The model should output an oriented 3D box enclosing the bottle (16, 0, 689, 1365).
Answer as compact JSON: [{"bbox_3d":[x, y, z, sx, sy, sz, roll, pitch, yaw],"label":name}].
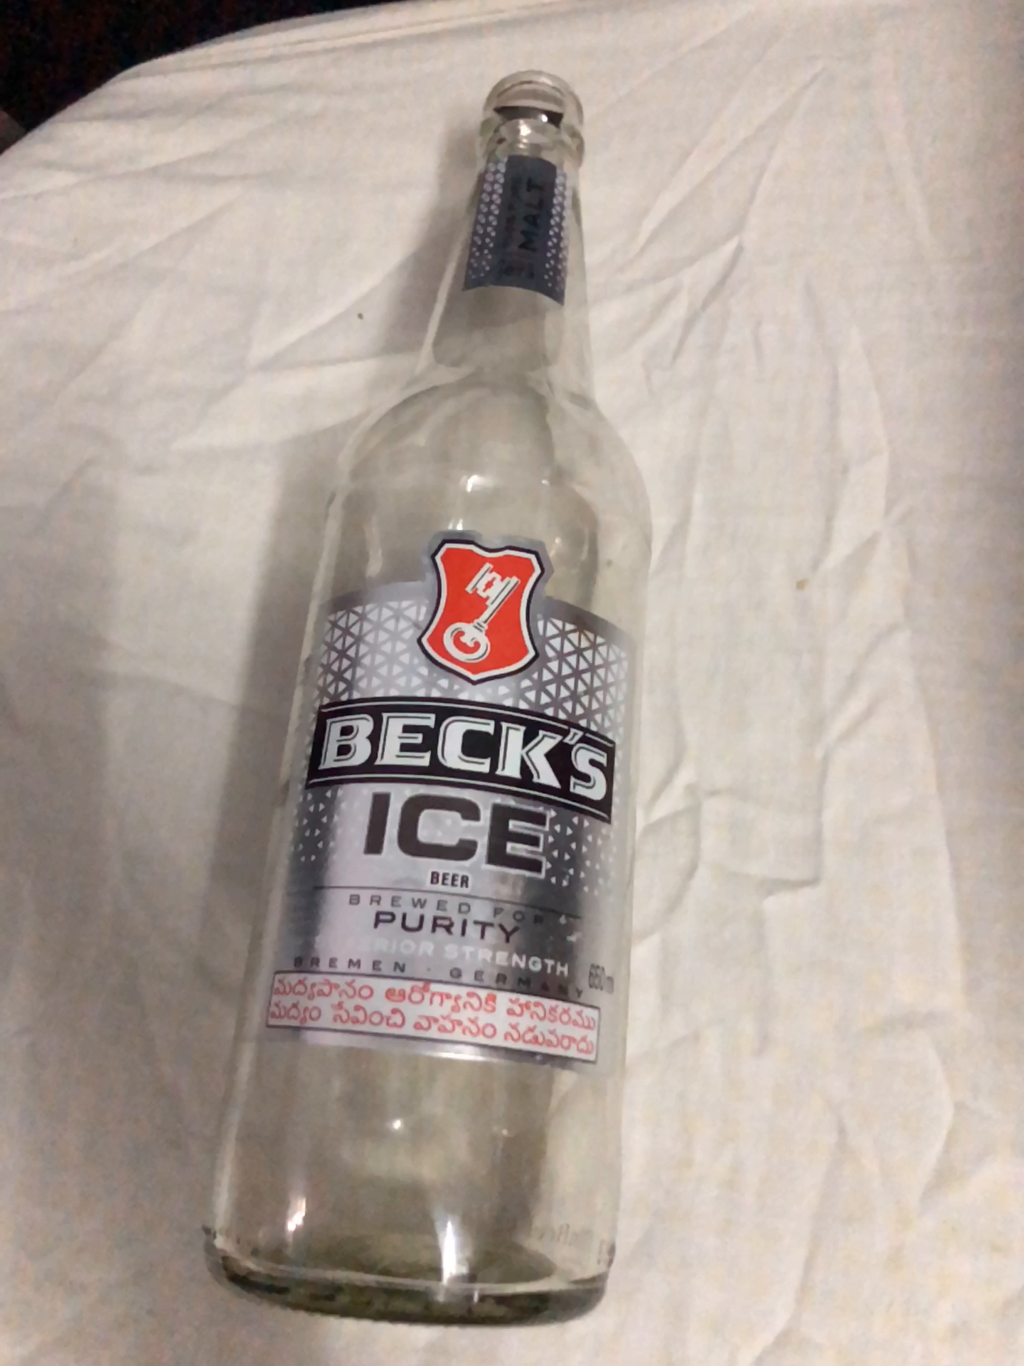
[{"bbox_3d":[-0.011,-0.026,0.217,0.080,0.080,0.280,0,75,13],"label":"bottle"}]
